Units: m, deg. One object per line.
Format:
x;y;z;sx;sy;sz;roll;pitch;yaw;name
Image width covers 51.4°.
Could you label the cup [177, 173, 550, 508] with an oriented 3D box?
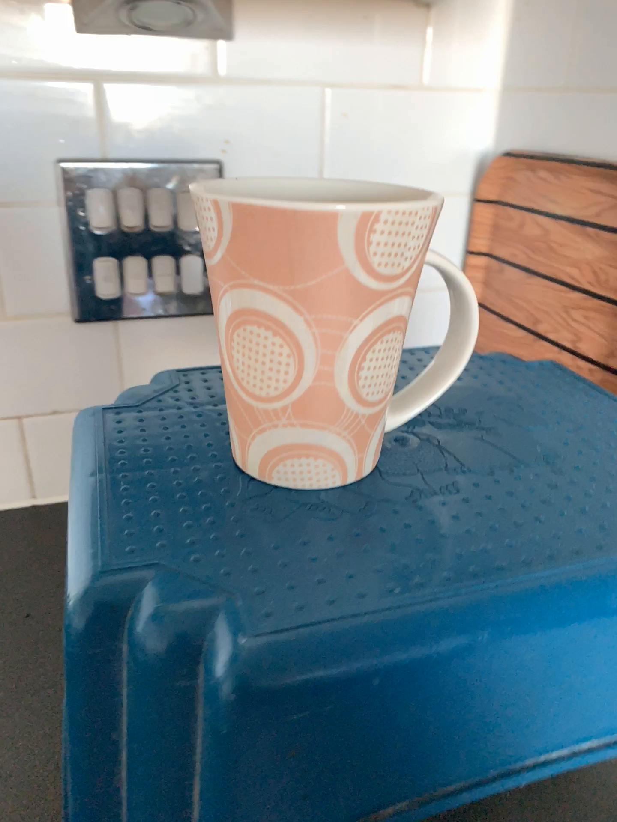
0.014;-0.036;0.257;0.116;0.105;0.078;-7;26;-18;cup
